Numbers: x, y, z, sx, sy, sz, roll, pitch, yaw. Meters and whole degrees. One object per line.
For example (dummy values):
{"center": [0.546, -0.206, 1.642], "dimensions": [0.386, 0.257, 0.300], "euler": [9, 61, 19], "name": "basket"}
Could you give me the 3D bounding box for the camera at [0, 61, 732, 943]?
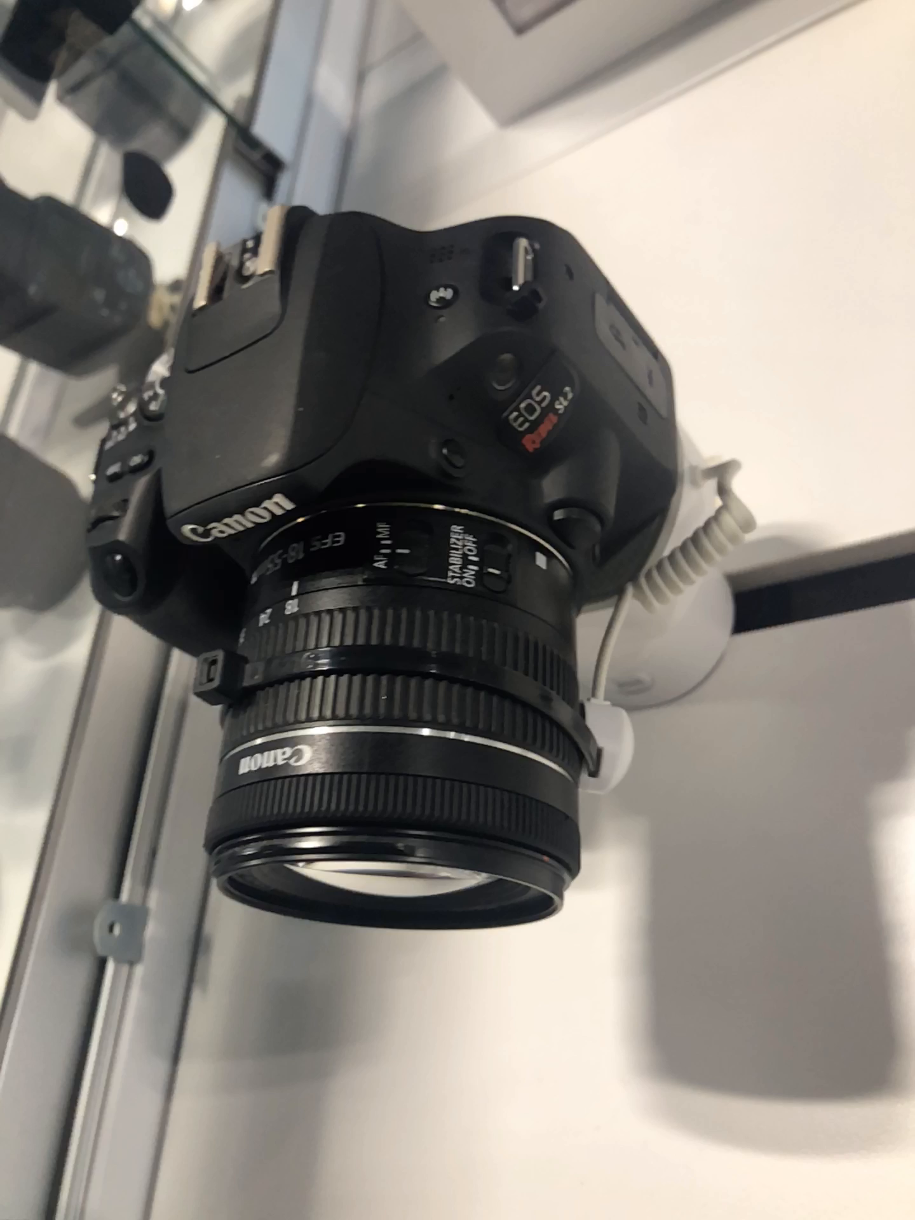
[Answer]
{"center": [-0.028, -0.002, 0.201], "dimensions": [0.123, 0.099, 0.110], "euler": [-15, 58, 34], "name": "camera"}
